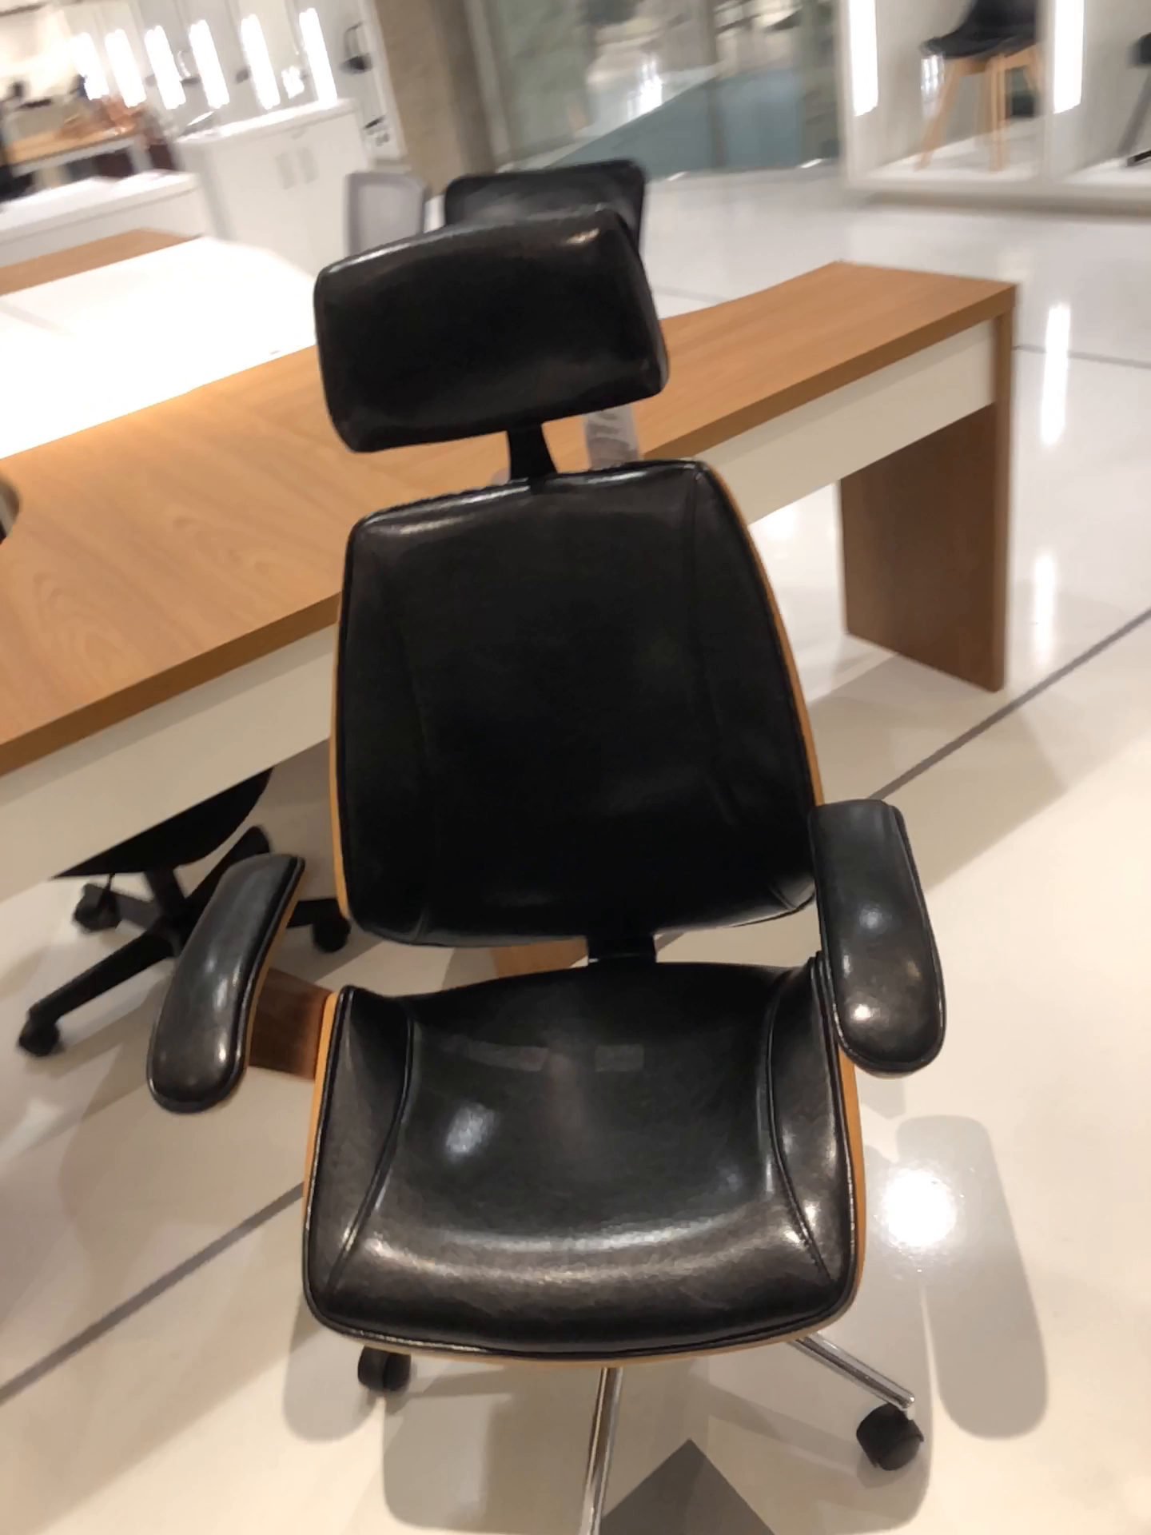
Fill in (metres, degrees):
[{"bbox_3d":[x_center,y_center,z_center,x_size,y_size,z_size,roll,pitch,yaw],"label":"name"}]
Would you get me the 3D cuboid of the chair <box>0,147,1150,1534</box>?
[{"bbox_3d":[-0.015,0.164,1.150,0.720,1.102,0.766,-8,34,6],"label":"chair"}]
